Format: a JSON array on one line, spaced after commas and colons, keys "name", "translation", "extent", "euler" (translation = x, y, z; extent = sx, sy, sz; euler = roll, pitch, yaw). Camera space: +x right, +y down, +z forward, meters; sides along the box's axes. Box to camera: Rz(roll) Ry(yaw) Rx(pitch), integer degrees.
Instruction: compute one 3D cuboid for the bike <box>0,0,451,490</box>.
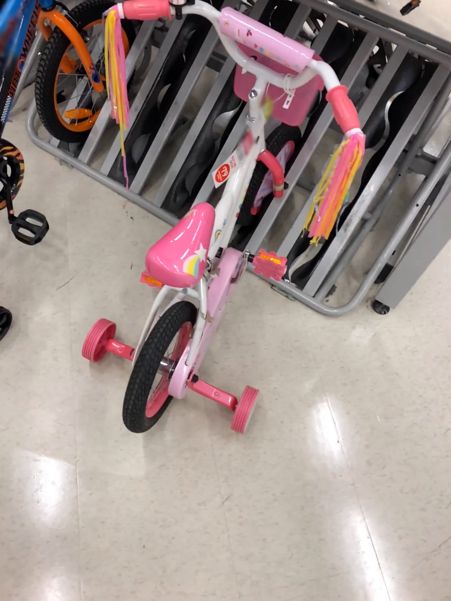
[{"name": "bike", "translation": [0.020, -0.226, 1.032], "extent": [0.516, 0.592, 0.946], "euler": [23, 60, 8]}]
